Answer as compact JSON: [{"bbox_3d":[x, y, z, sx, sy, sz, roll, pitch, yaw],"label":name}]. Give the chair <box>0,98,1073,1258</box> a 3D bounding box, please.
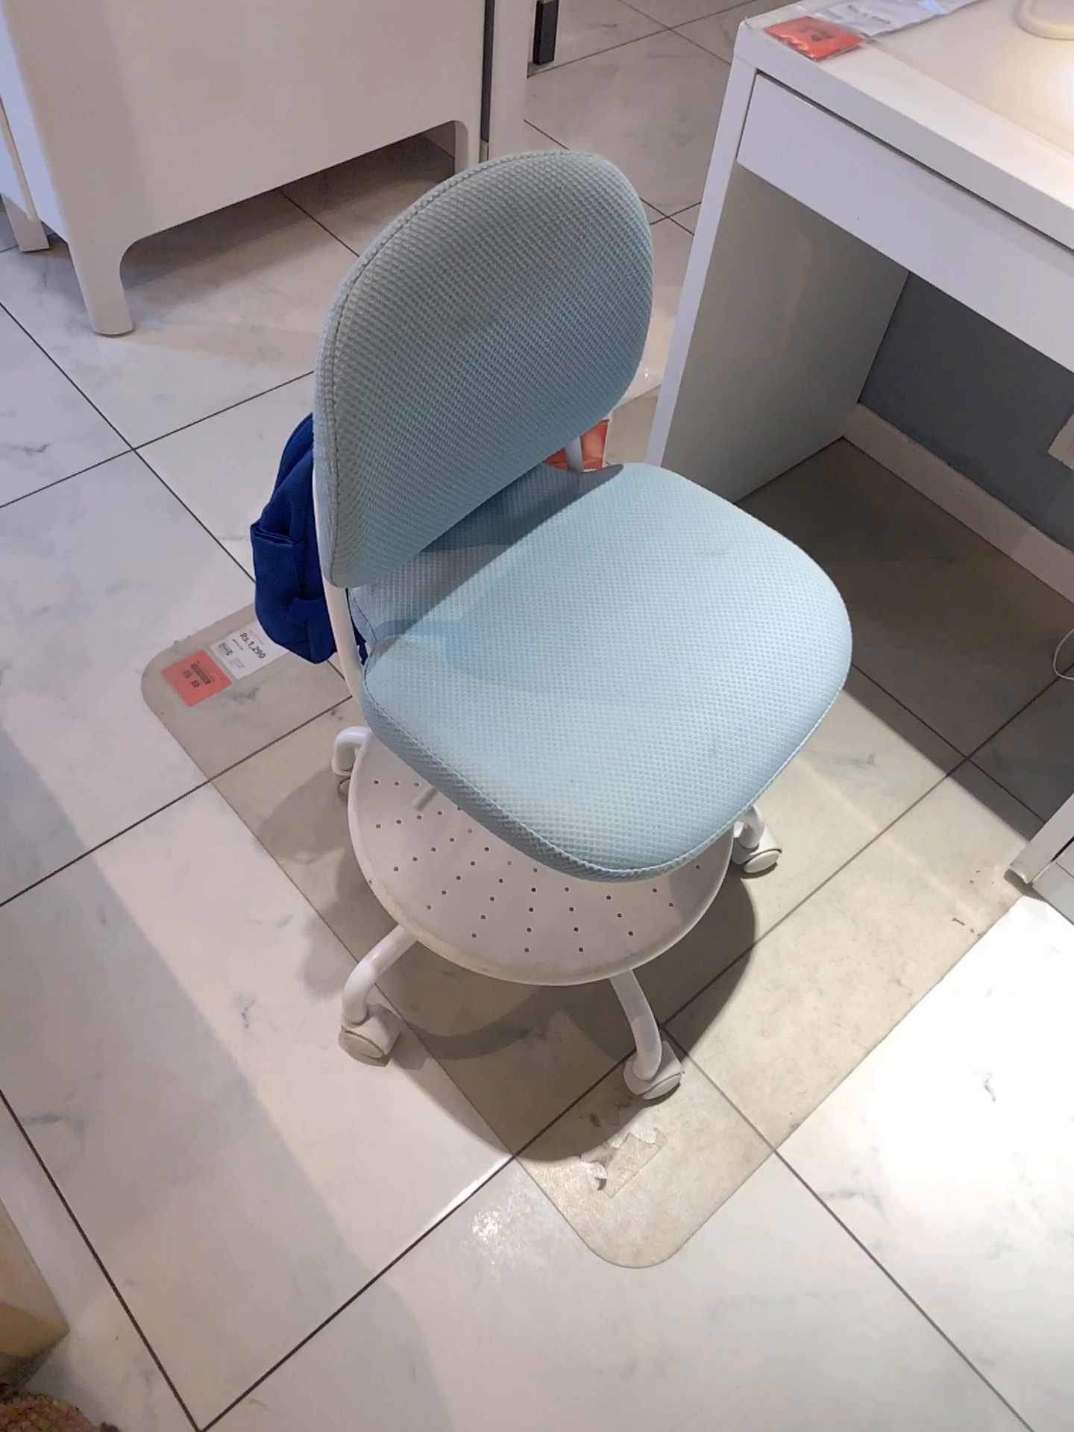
[{"bbox_3d":[0.012,-0.012,1.055,0.621,0.718,0.601,37,60,19],"label":"chair"}]
